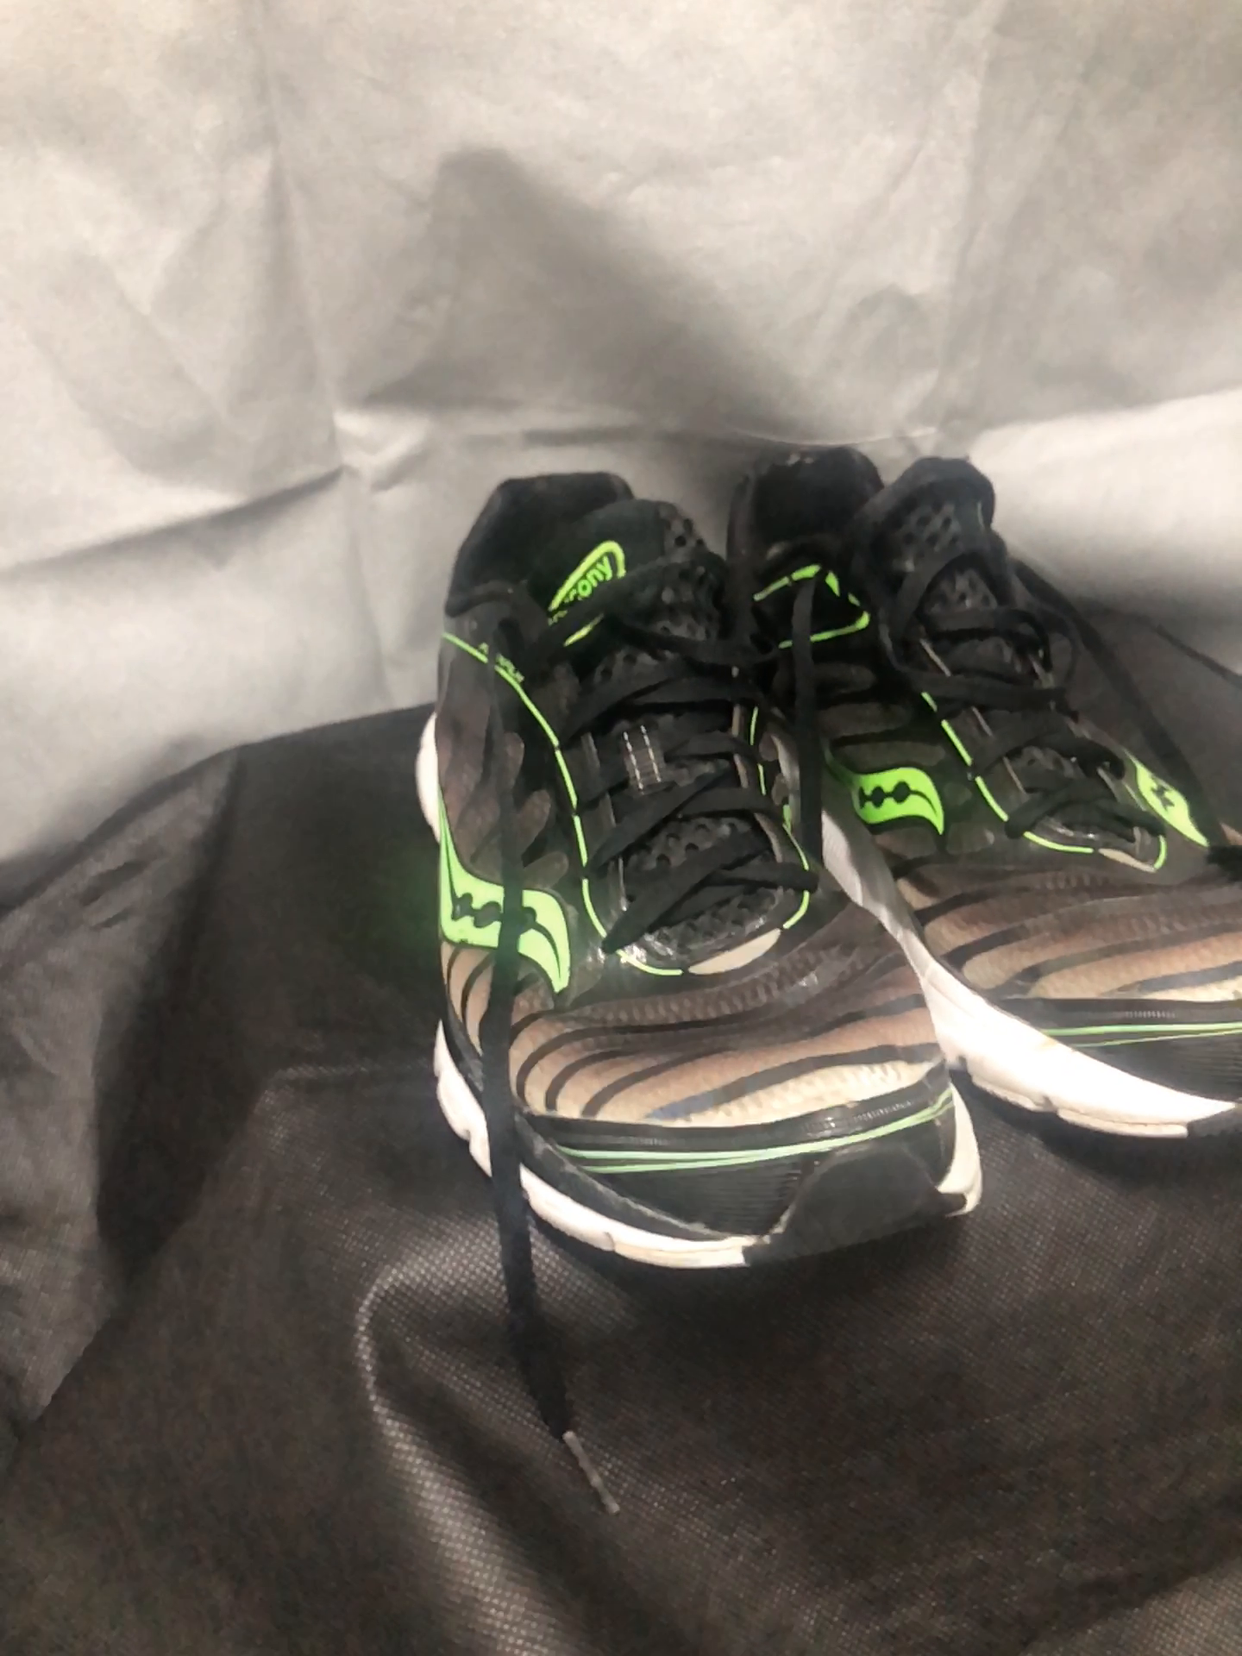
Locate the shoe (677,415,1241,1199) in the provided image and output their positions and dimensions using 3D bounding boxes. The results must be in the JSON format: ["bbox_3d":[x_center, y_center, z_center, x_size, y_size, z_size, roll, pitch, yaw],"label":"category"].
[{"bbox_3d":[0.106,-0.029,0.368,0.114,0.097,0.225,-9,32,-14],"label":"shoe"}]

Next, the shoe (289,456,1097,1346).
[{"bbox_3d":[-0.006,-0.009,0.341,0.116,0.096,0.225,-9,32,-14],"label":"shoe"}]
